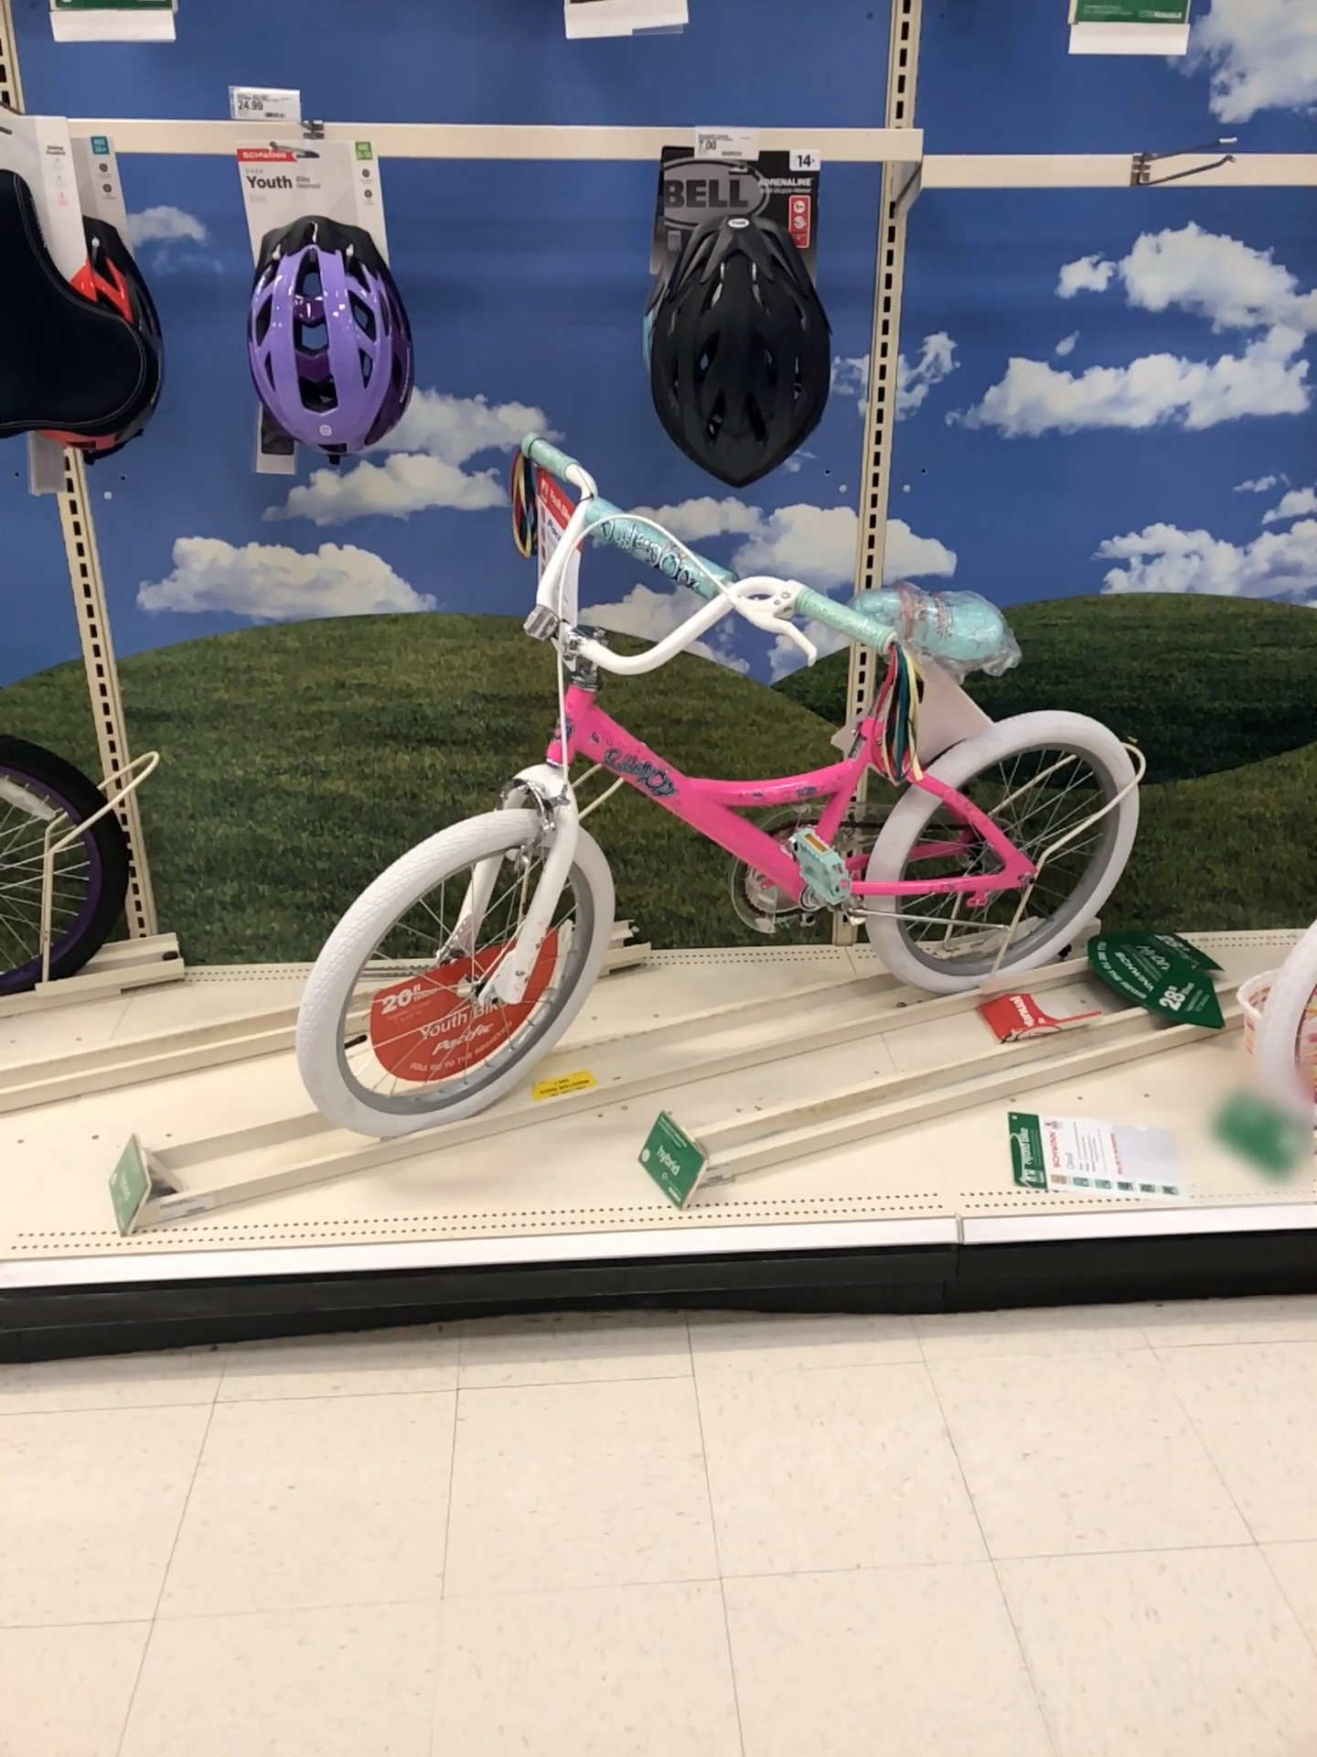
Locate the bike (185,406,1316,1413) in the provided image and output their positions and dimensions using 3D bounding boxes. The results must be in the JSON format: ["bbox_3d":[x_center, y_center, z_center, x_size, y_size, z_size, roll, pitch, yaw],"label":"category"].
[{"bbox_3d":[0.160,-0.085,1.995,1.347,0.882,0.730,-13,28,-23],"label":"bike"}]
